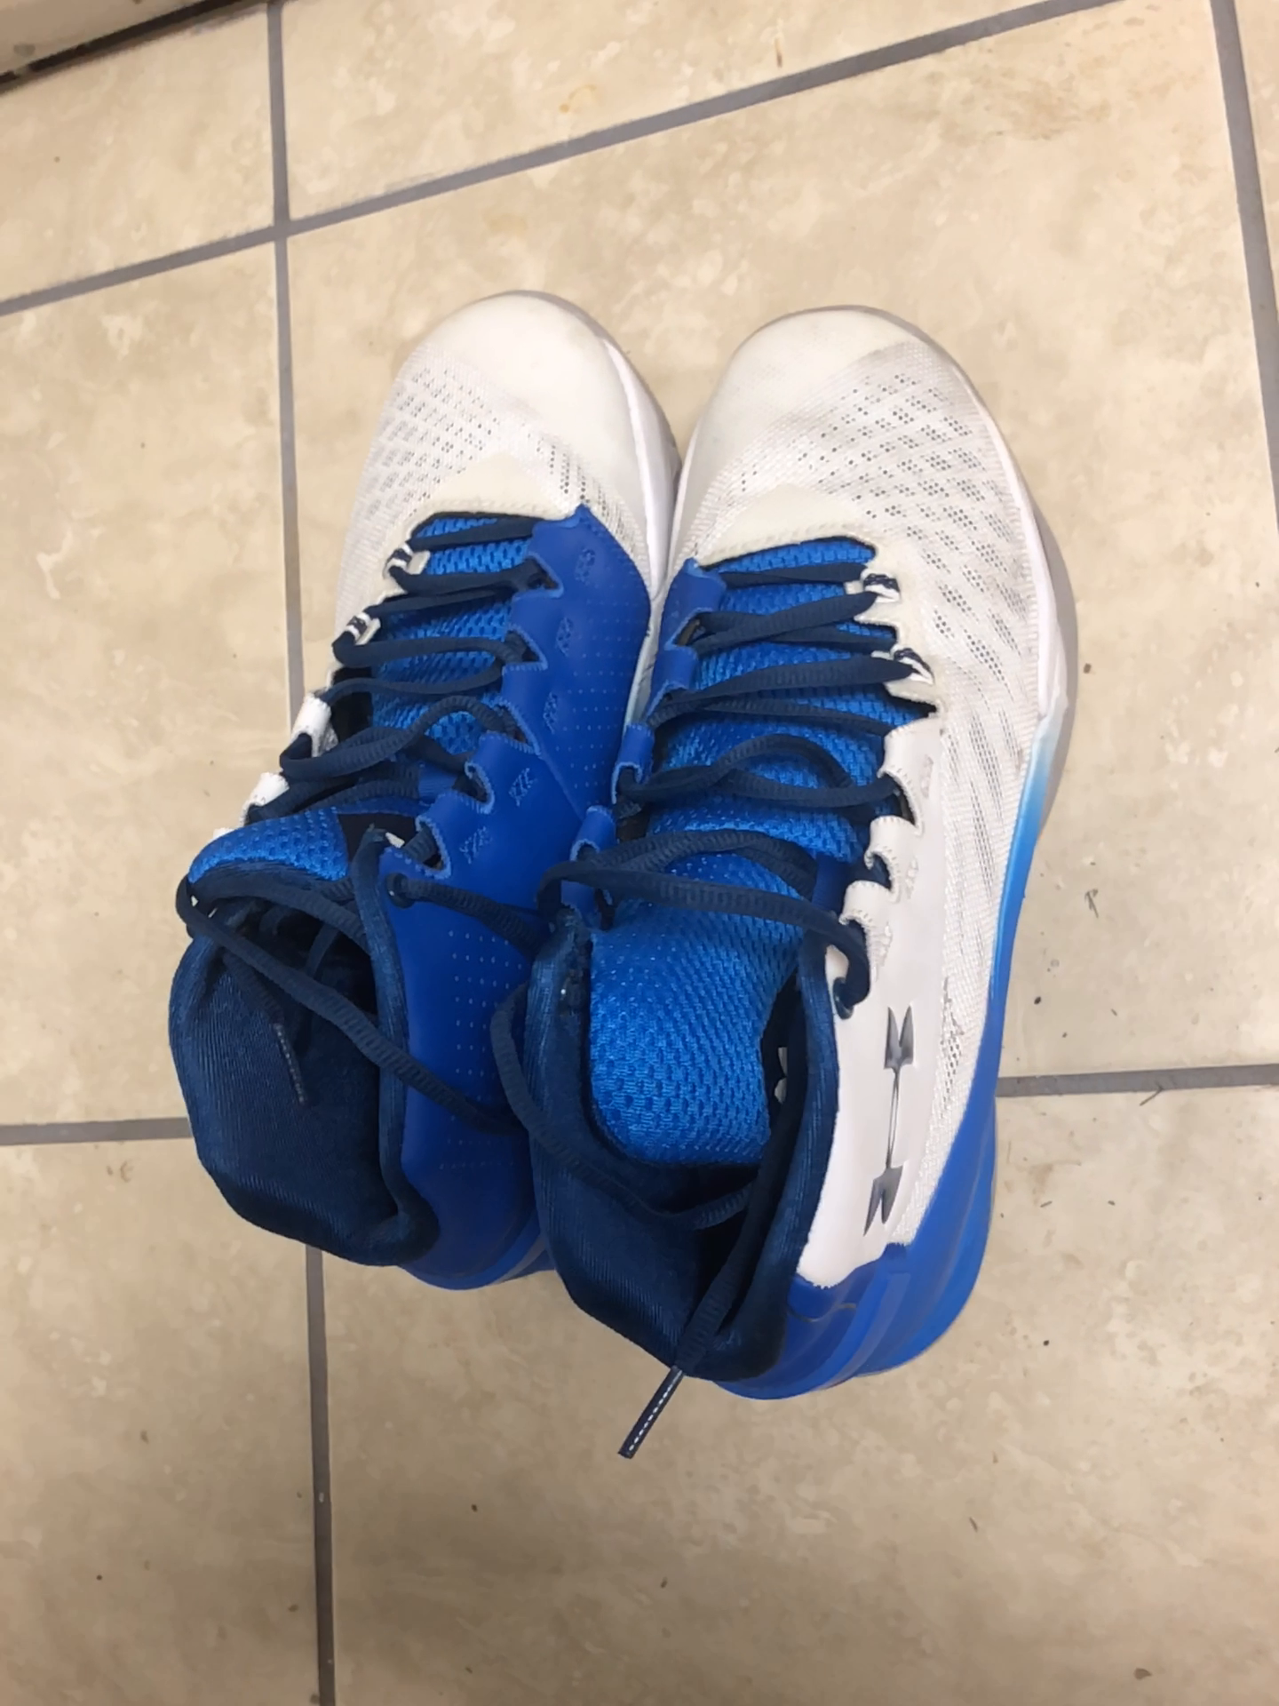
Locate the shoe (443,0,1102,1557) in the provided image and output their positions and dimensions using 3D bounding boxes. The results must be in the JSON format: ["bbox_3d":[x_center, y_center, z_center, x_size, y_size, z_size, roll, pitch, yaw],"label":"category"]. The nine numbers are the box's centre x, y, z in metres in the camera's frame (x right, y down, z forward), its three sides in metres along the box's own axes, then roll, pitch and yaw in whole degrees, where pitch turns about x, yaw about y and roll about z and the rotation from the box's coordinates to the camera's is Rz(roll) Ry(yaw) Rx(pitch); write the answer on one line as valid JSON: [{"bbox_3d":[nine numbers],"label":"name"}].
[{"bbox_3d":[0.042,-0.028,0.345,0.120,0.130,0.322,-2,81,20],"label":"shoe"}]

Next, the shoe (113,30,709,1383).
[{"bbox_3d":[-0.057,-0.033,0.386,0.120,0.100,0.310,-4,83,20],"label":"shoe"}]
